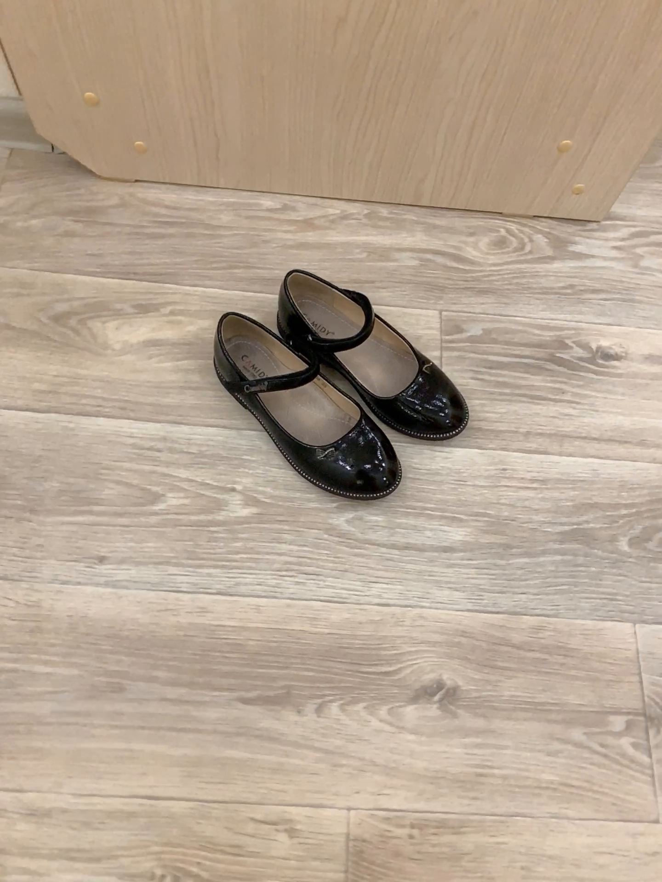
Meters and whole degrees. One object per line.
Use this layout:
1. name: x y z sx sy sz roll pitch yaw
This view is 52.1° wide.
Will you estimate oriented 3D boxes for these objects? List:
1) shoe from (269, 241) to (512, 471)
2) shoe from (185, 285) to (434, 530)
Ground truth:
1. shoe: 0.056 -0.093 0.747 0.250 0.100 0.090 38 69 11
2. shoe: -0.027 -0.034 0.713 0.250 0.100 0.090 40 69 12
